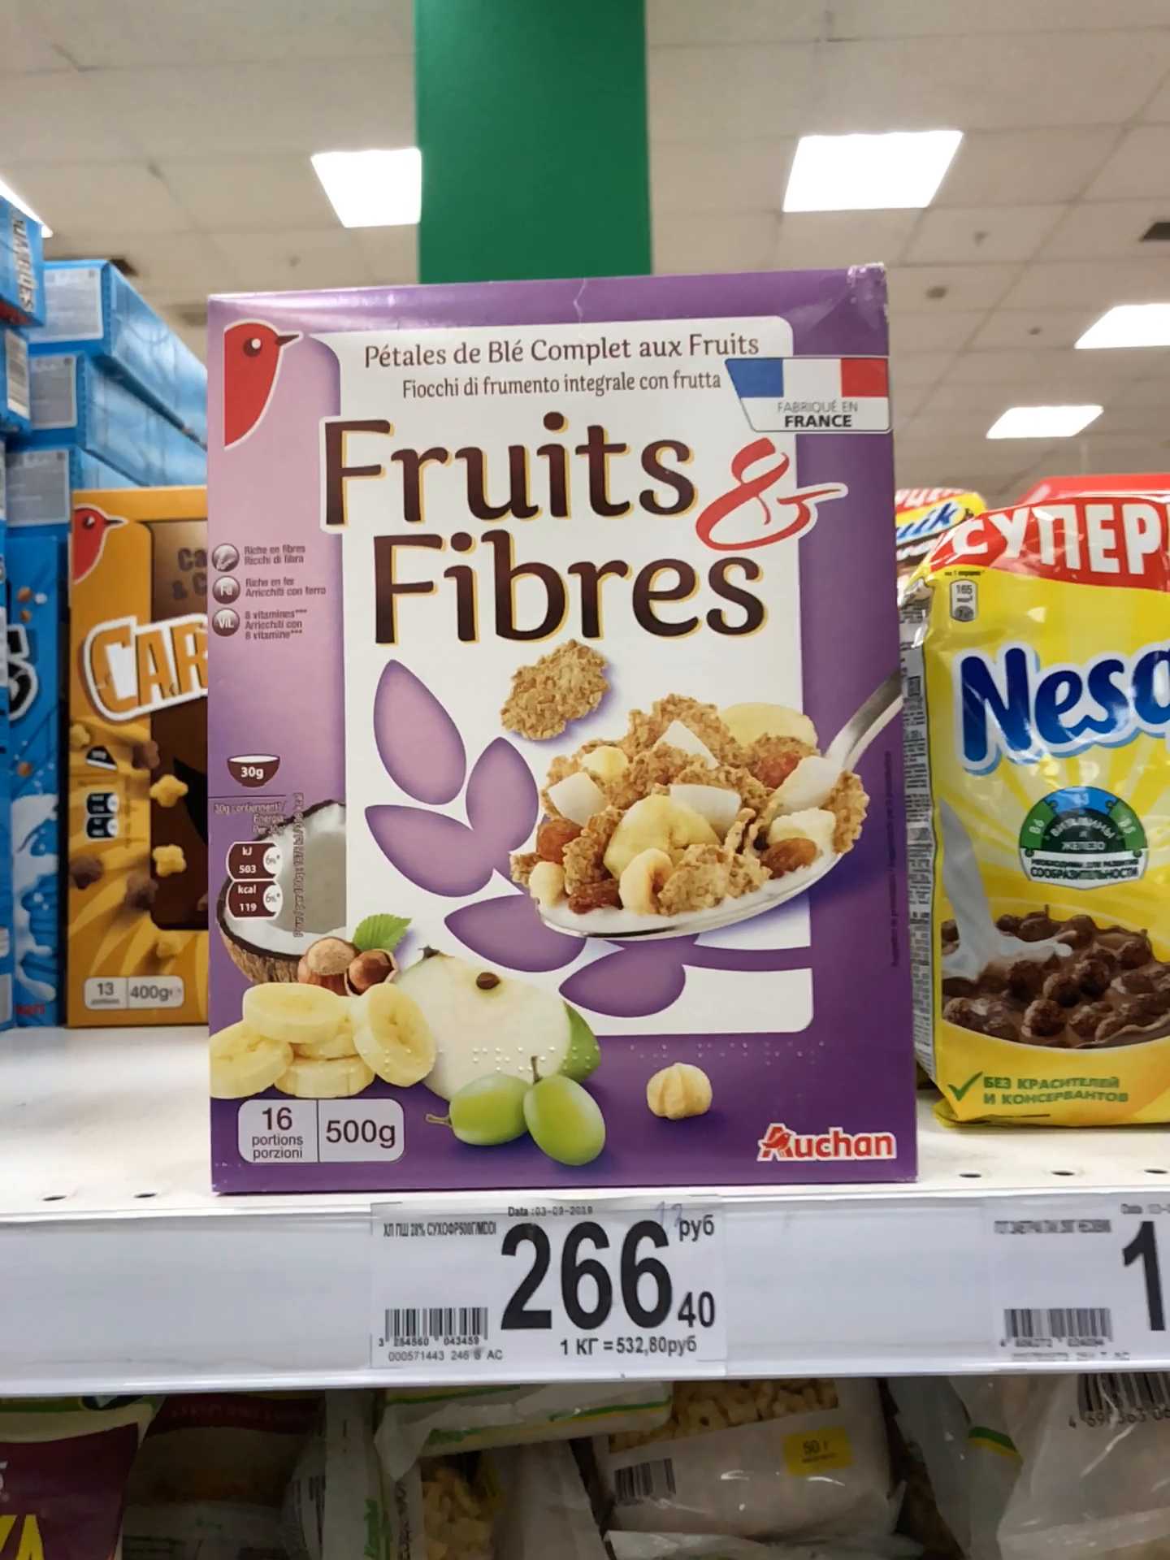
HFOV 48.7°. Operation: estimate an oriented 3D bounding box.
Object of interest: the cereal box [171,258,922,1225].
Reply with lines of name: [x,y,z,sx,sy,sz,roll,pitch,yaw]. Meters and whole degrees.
cereal box: [-0.013,-0.011,0.385,0.200,0.260,0.060,-2,-3,2]
